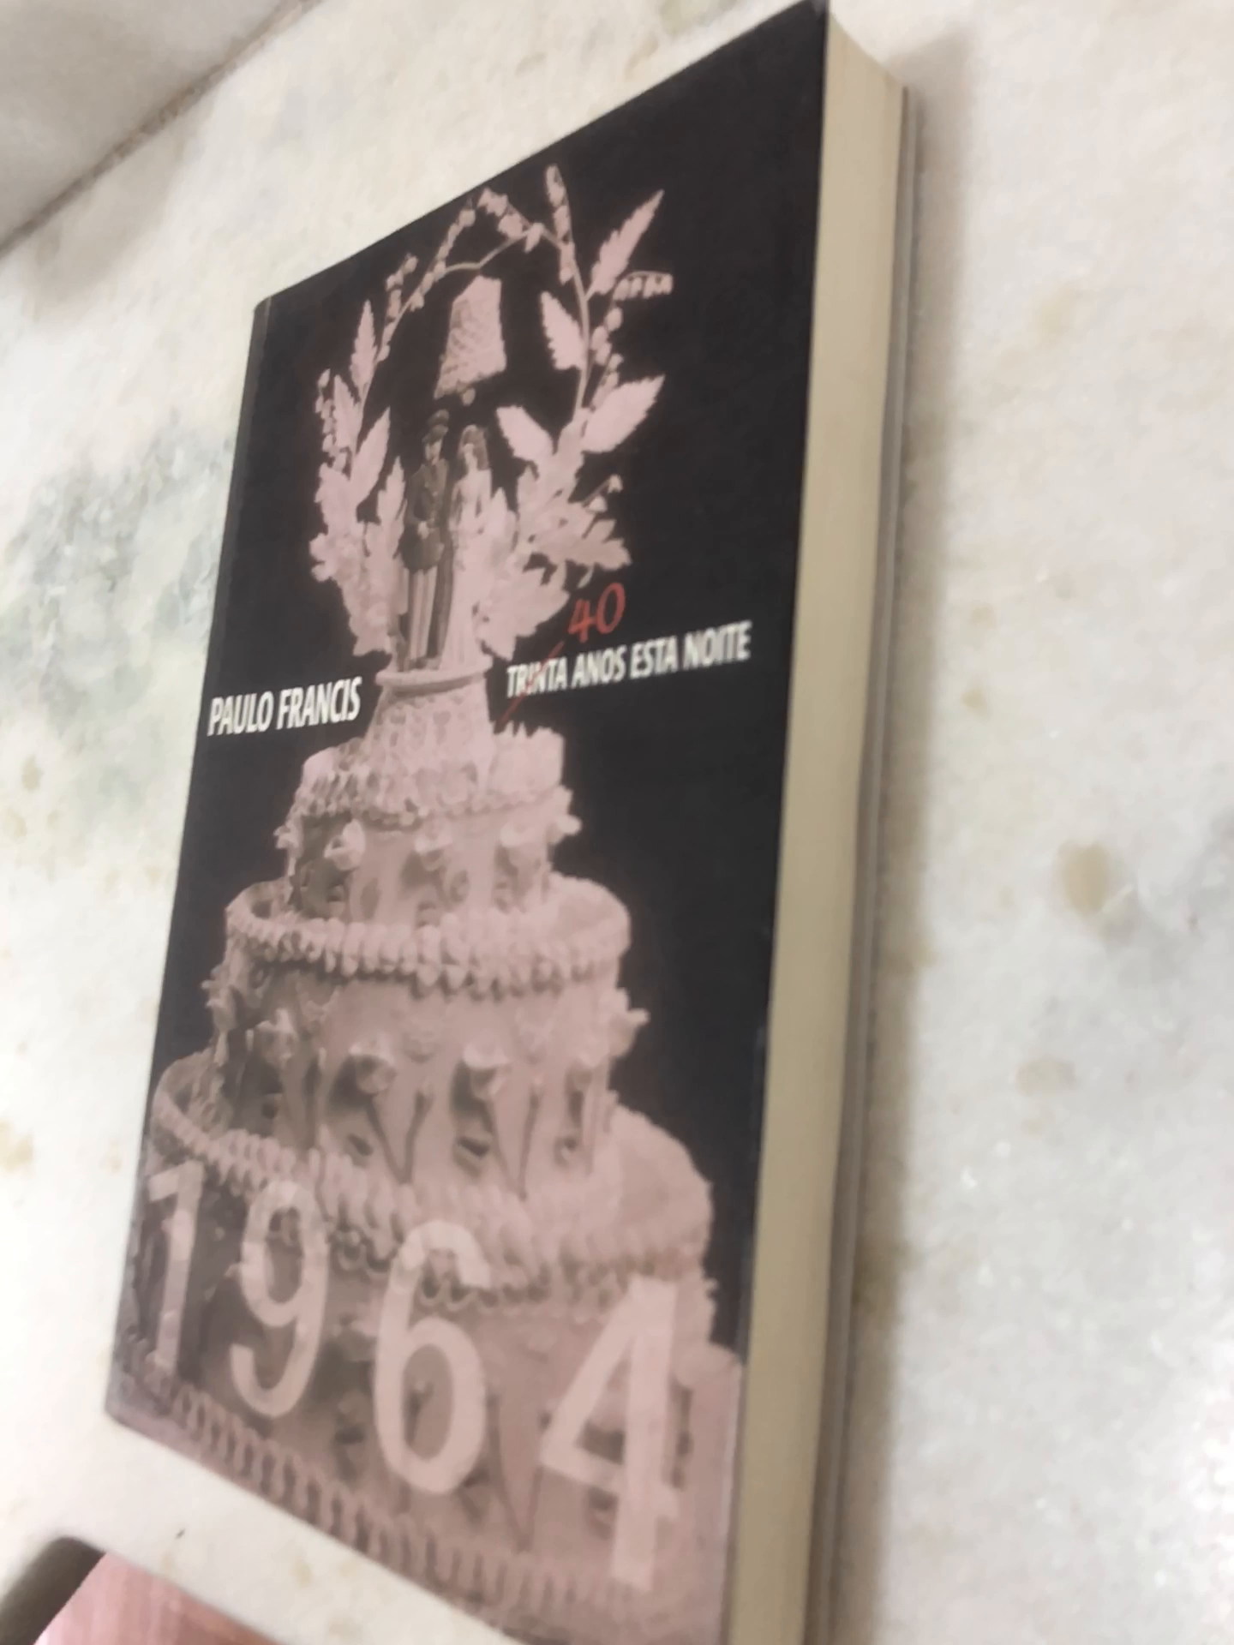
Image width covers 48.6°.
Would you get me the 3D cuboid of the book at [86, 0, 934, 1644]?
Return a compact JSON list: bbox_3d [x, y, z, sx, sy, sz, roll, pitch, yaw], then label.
[{"bbox_3d":[-0.025,0.001,0.203,0.141,0.020,0.203,-3,79,44],"label":"book"}]
